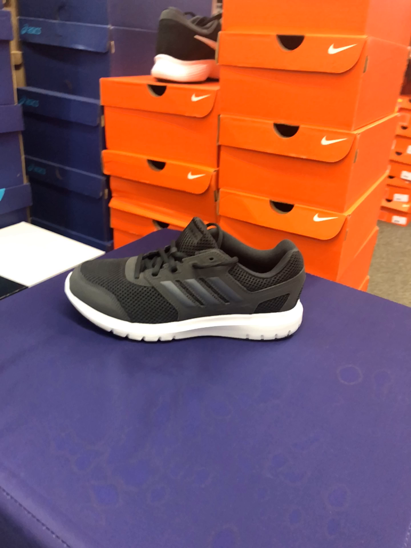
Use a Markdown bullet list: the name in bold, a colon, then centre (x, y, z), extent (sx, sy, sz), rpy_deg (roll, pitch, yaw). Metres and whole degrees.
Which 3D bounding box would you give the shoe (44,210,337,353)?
- **shoe**: centre (-0.017, 0.007, 0.501), extent (0.280, 0.106, 0.102), rpy_deg (3, 27, -4)
